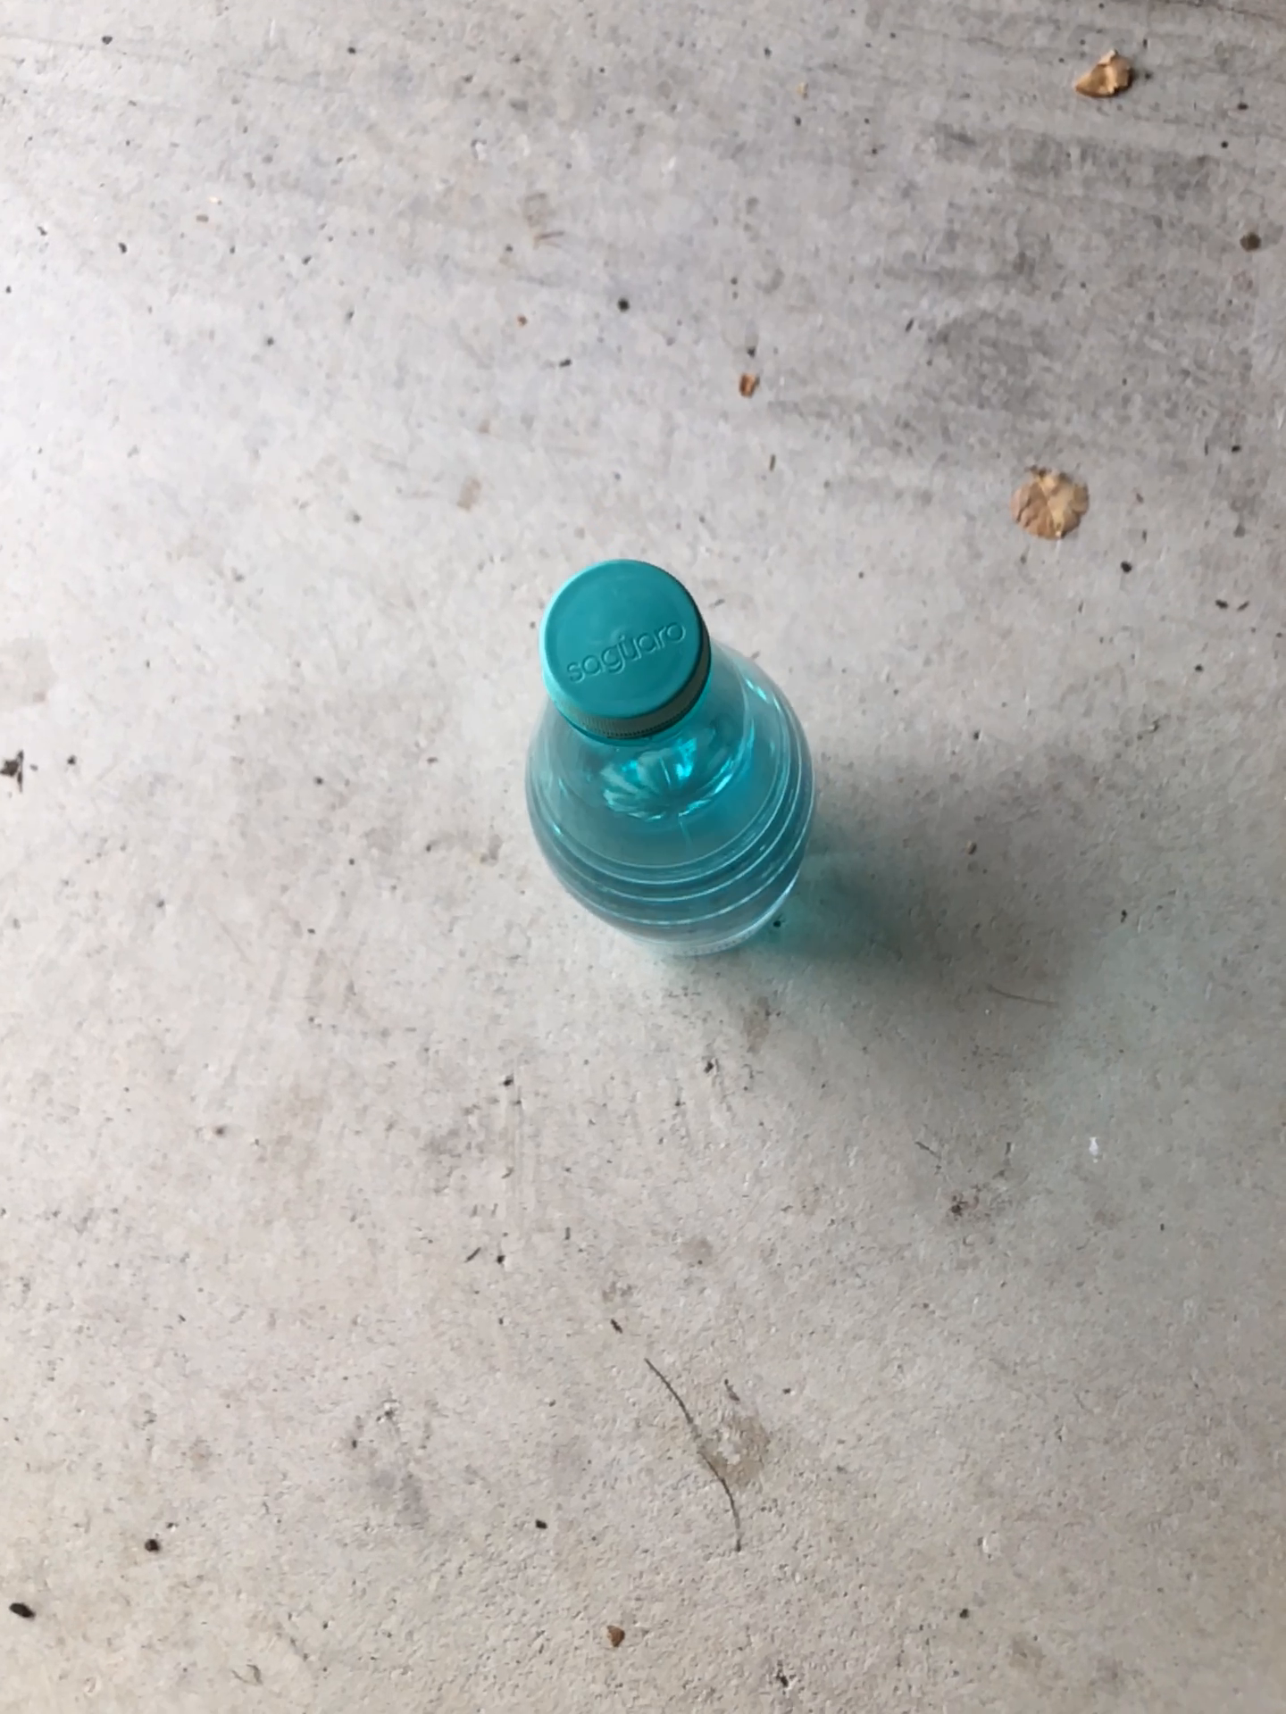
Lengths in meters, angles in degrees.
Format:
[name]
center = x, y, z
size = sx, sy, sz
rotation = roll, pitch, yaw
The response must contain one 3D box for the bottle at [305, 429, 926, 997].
[bottle]
center = 0.004, -0.008, 0.392
size = 0.100, 0.320, 0.090
rotation = -1, 84, 3
